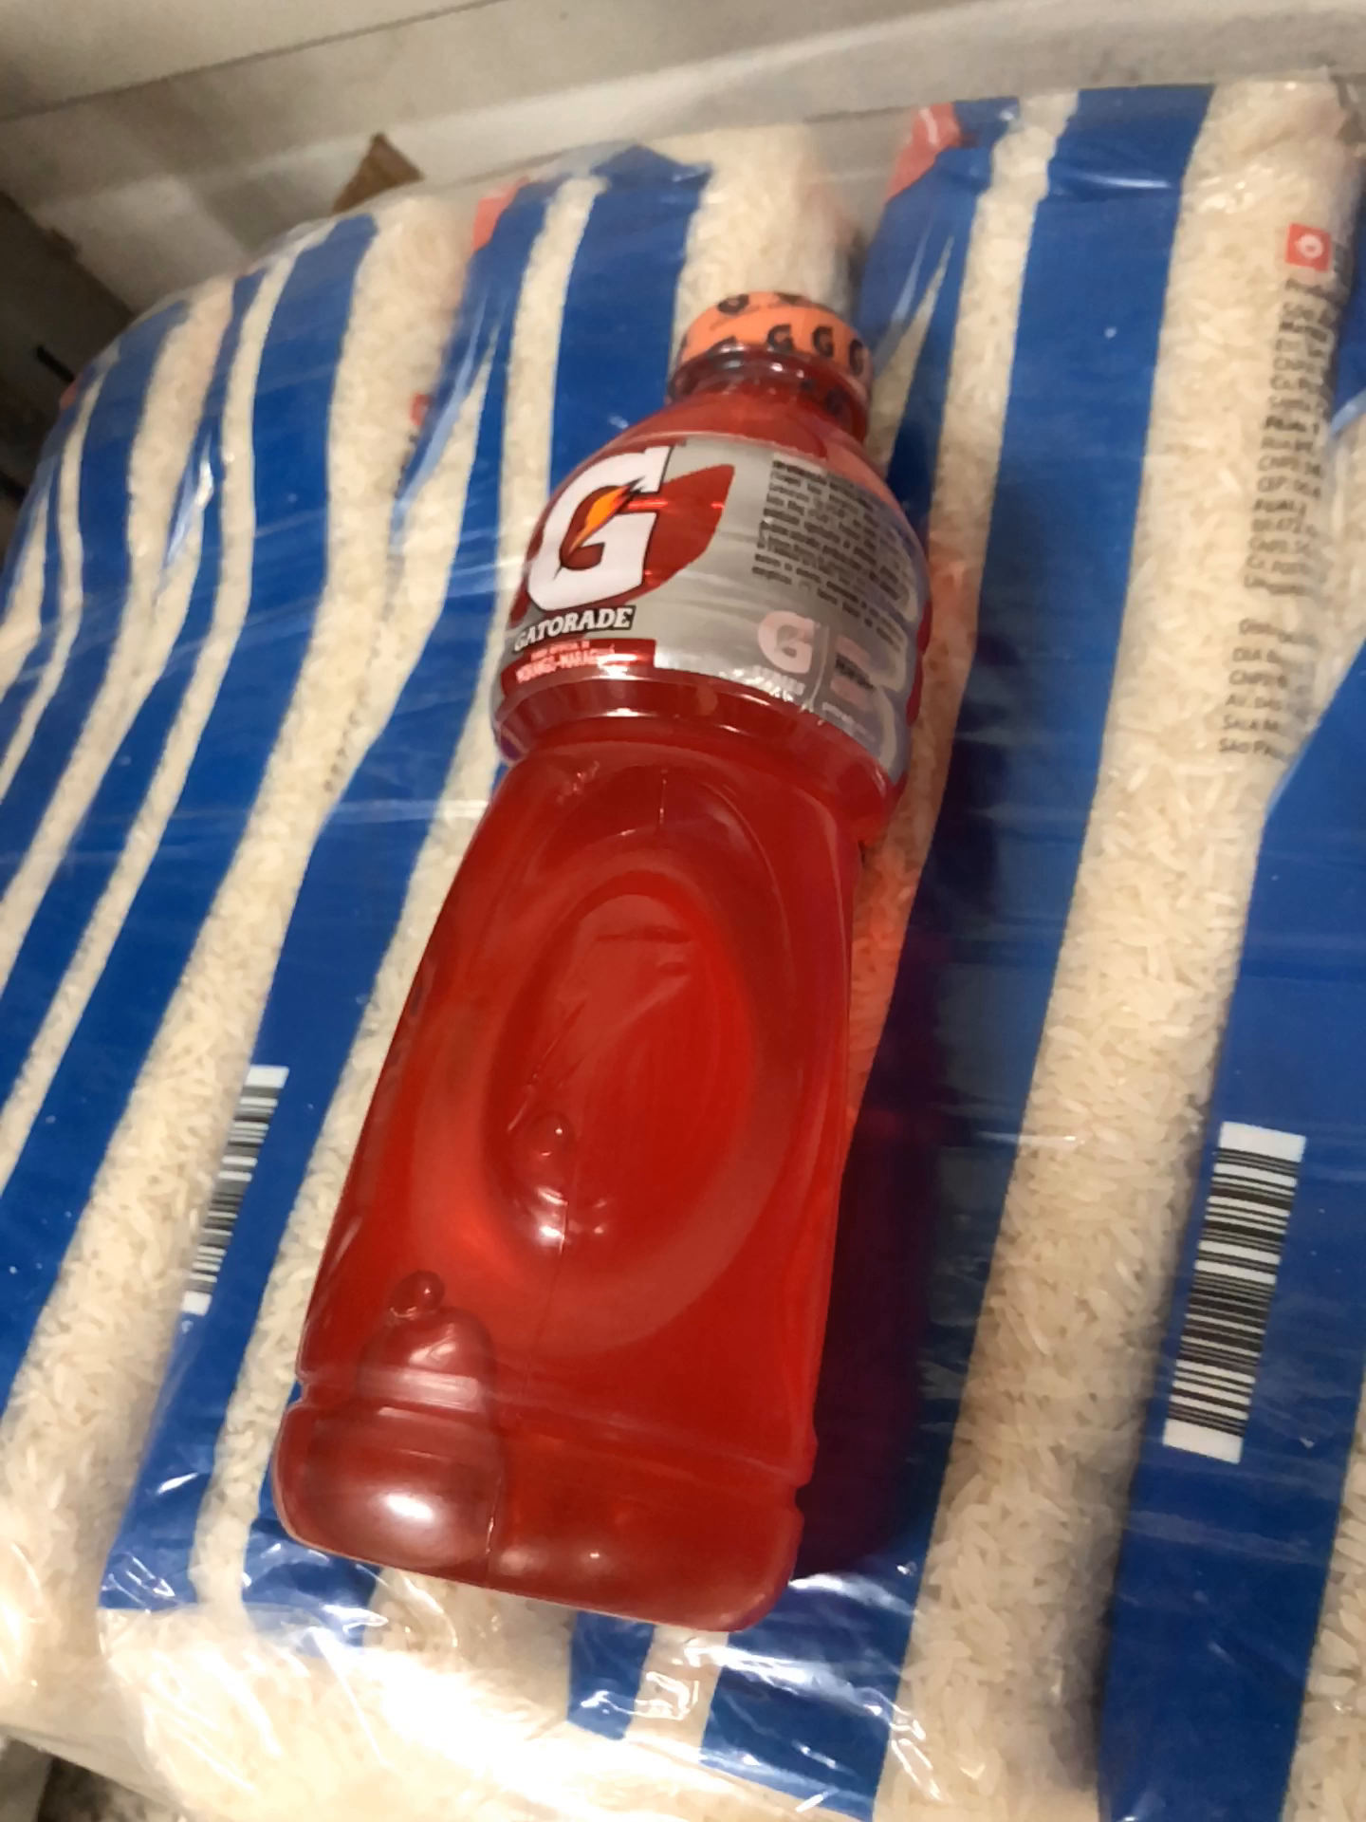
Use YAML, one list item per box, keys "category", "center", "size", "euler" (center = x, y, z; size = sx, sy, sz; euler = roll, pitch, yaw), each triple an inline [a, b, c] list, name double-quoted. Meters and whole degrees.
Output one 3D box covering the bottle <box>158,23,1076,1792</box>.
- category: "bottle"
  center: [0.003, -0.010, 0.223]
  size: [0.080, 0.060, 0.220]
  euler: [0, 70, 26]
